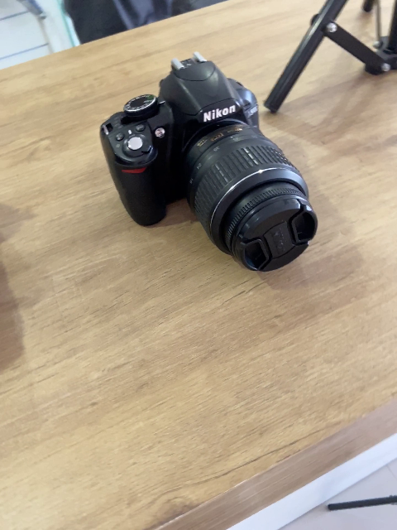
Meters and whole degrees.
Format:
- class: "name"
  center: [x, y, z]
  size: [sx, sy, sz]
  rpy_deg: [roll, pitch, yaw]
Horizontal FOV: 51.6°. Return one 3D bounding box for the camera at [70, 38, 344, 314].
- class: "camera"
  center: [-0.004, -0.080, 0.315]
  size: [0.130, 0.090, 0.181]
  rpy_deg: [-21, 49, -8]
